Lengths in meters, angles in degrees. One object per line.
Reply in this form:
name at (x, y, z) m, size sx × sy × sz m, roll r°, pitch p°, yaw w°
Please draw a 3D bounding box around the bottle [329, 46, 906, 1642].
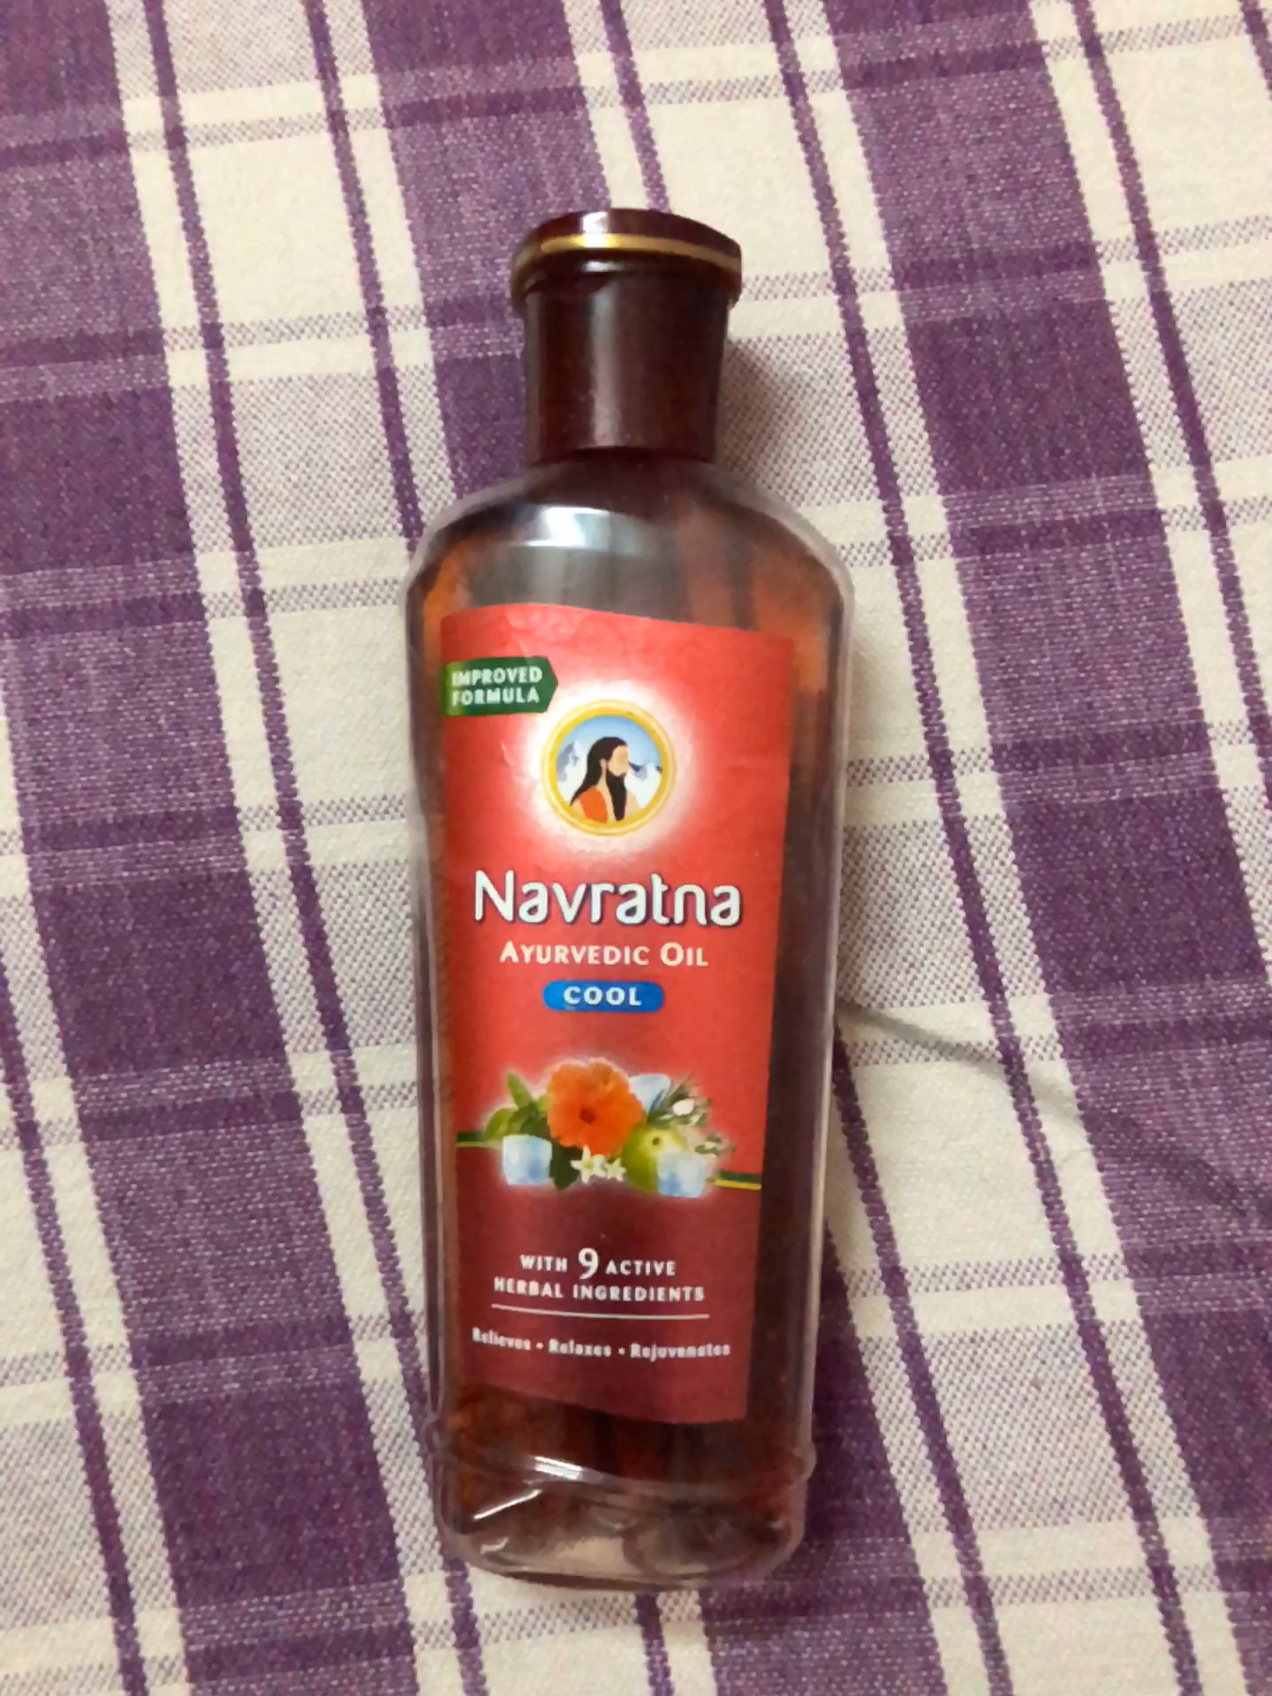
bottle at (0.000, -0.003, 0.204) m, size 0.070 × 0.050 × 0.200 m, roll 0°, pitch 85°, yaw 4°
